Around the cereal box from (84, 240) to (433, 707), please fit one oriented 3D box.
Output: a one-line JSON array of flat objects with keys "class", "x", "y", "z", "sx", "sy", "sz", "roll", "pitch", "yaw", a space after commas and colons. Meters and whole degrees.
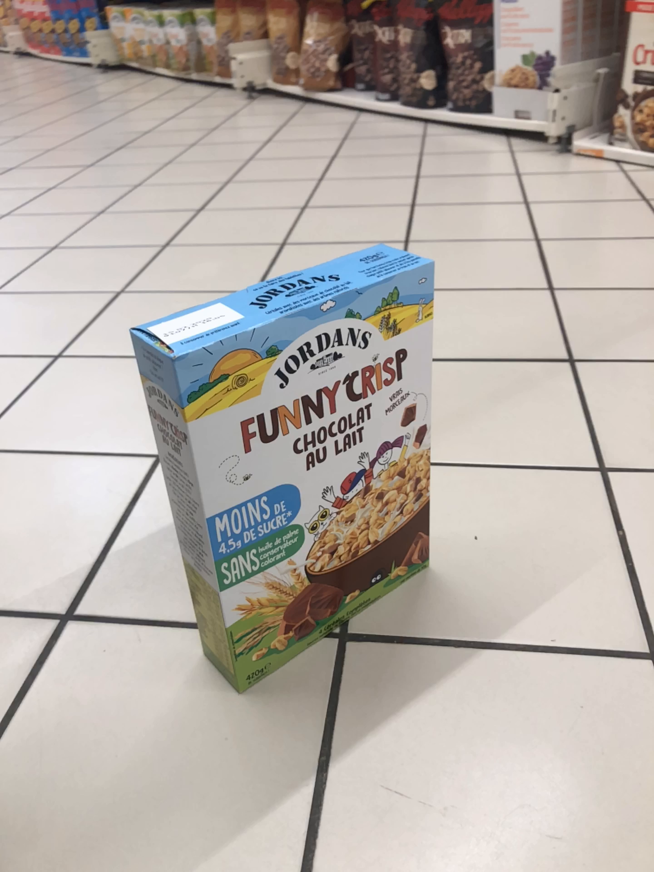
[{"class": "cereal box", "x": -0.023, "y": 0.021, "z": 0.439, "sx": 0.181, "sy": 0.229, "sz": 0.060, "roll": -26, "pitch": 38, "yaw": -30}]
